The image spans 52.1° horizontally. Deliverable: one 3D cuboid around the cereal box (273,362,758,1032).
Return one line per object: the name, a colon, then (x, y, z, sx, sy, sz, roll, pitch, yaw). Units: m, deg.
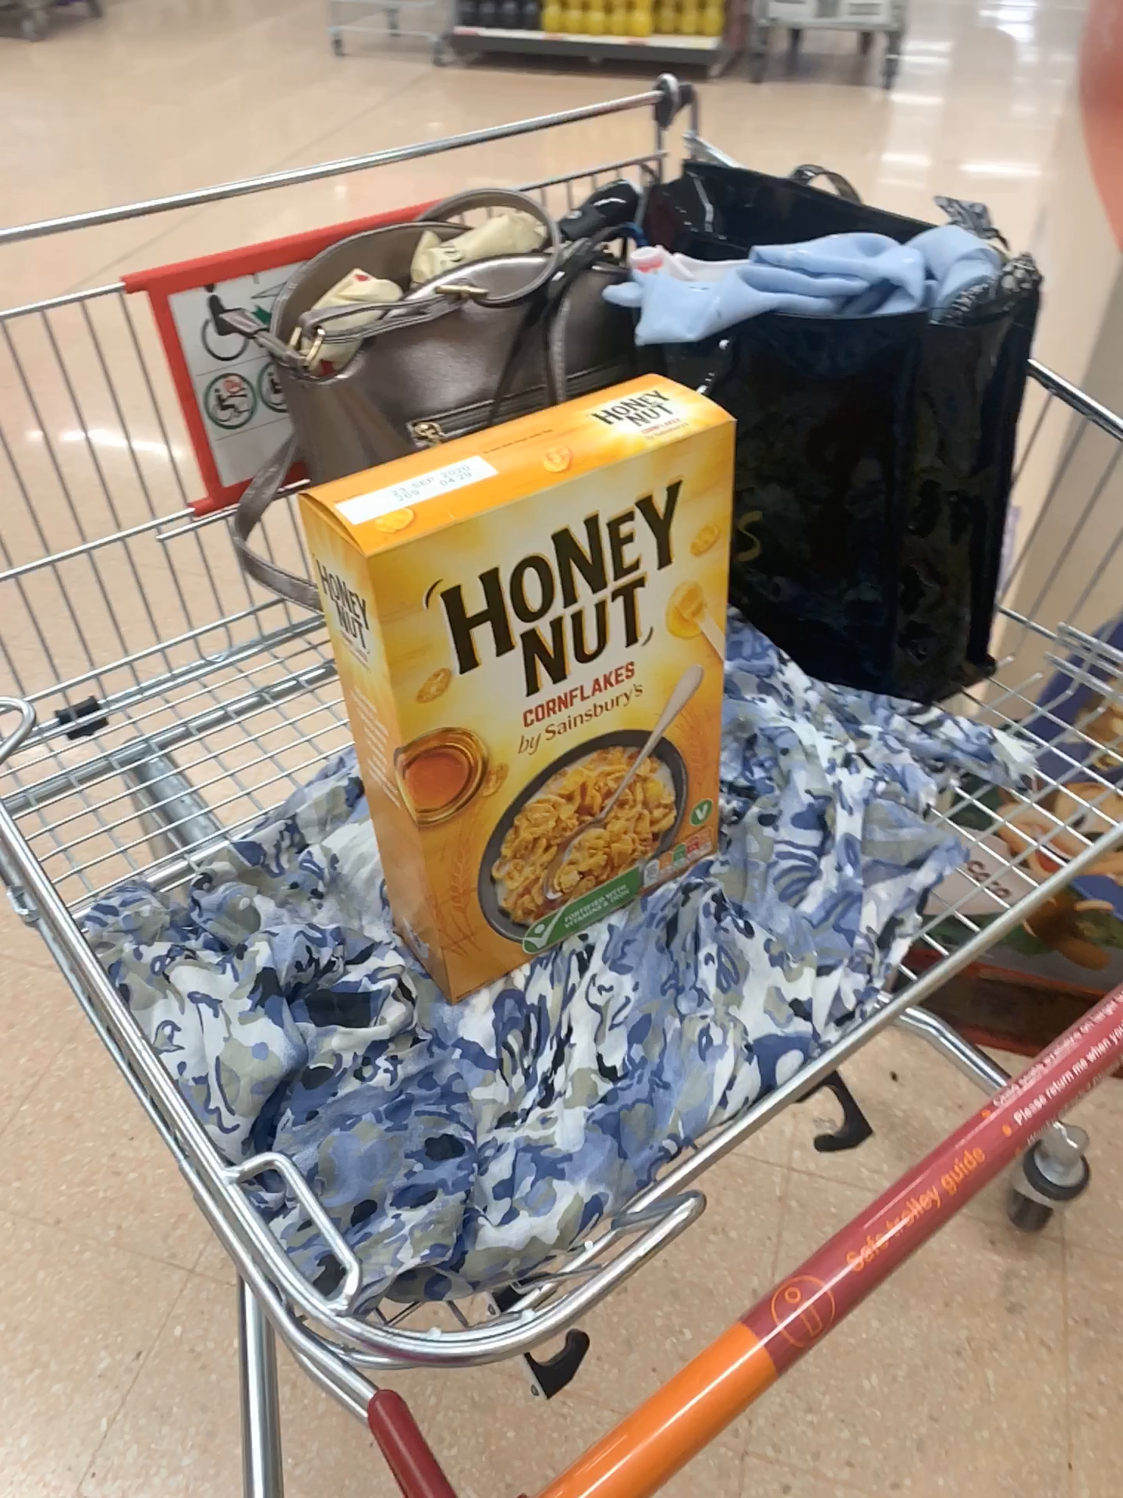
cereal box: (-0.009, -0.021, 0.612, 0.211, 0.297, 0.081, -26, 44, -25)
